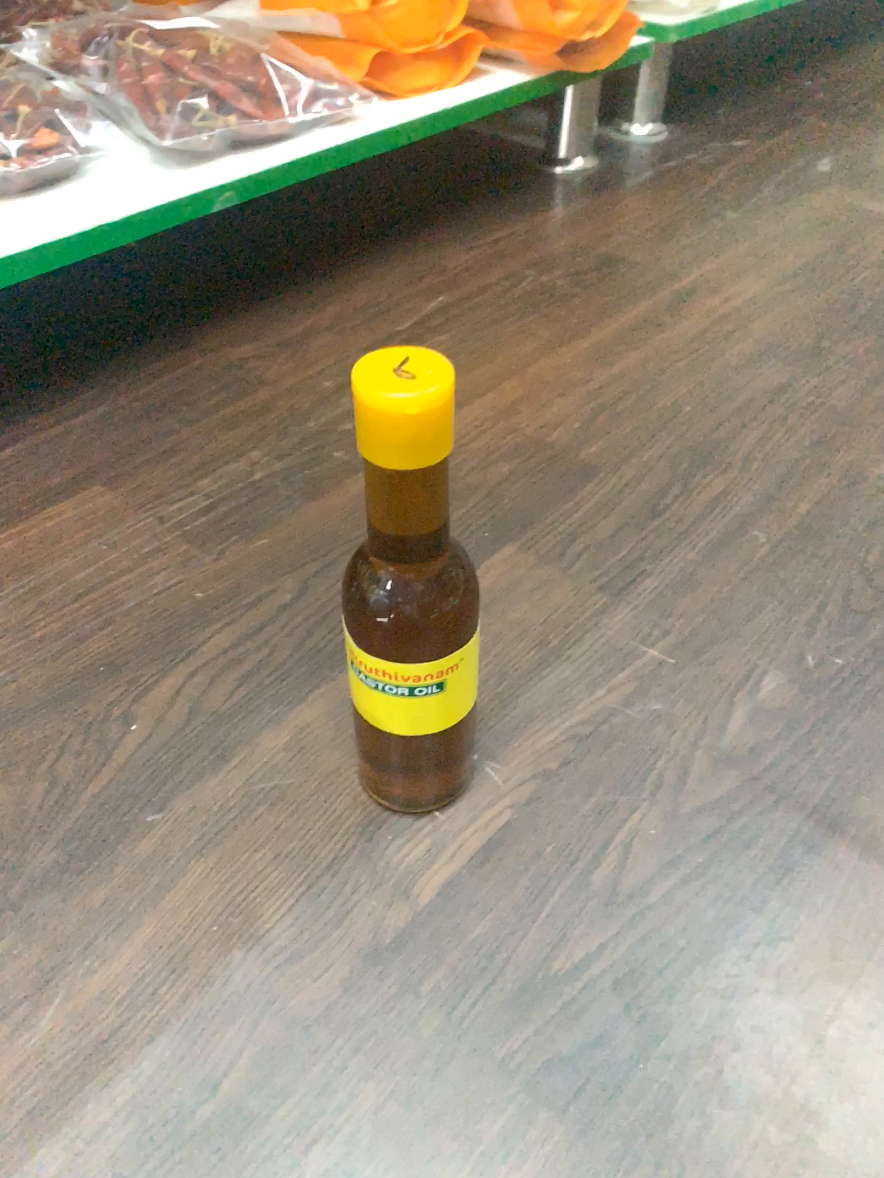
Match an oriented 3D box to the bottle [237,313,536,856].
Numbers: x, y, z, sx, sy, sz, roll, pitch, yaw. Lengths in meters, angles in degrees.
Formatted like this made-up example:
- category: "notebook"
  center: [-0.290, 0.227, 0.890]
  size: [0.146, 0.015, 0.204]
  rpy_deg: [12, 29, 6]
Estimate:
- category: "bottle"
  center: [-0.013, 0.007, 0.299]
  size: [0.060, 0.169, 0.060]
  rpy_deg: [0, 42, 0]
